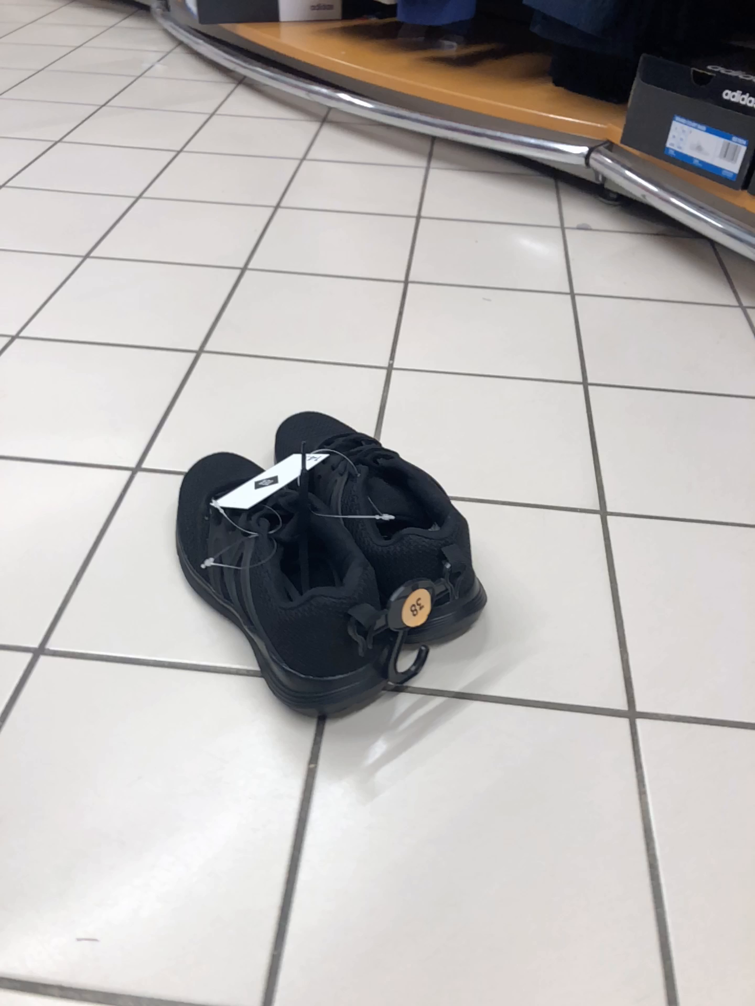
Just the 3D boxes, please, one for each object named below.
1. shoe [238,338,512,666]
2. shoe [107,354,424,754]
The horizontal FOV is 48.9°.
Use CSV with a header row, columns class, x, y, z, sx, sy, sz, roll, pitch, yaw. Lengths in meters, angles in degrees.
class,x,y,z,sx,sy,sz,roll,pitch,yaw
shoe,-0.014,-0.014,0.654,0.100,0.109,0.251,-18,44,-22
shoe,-0.089,0.020,0.591,0.100,0.119,0.271,-21,46,-25
